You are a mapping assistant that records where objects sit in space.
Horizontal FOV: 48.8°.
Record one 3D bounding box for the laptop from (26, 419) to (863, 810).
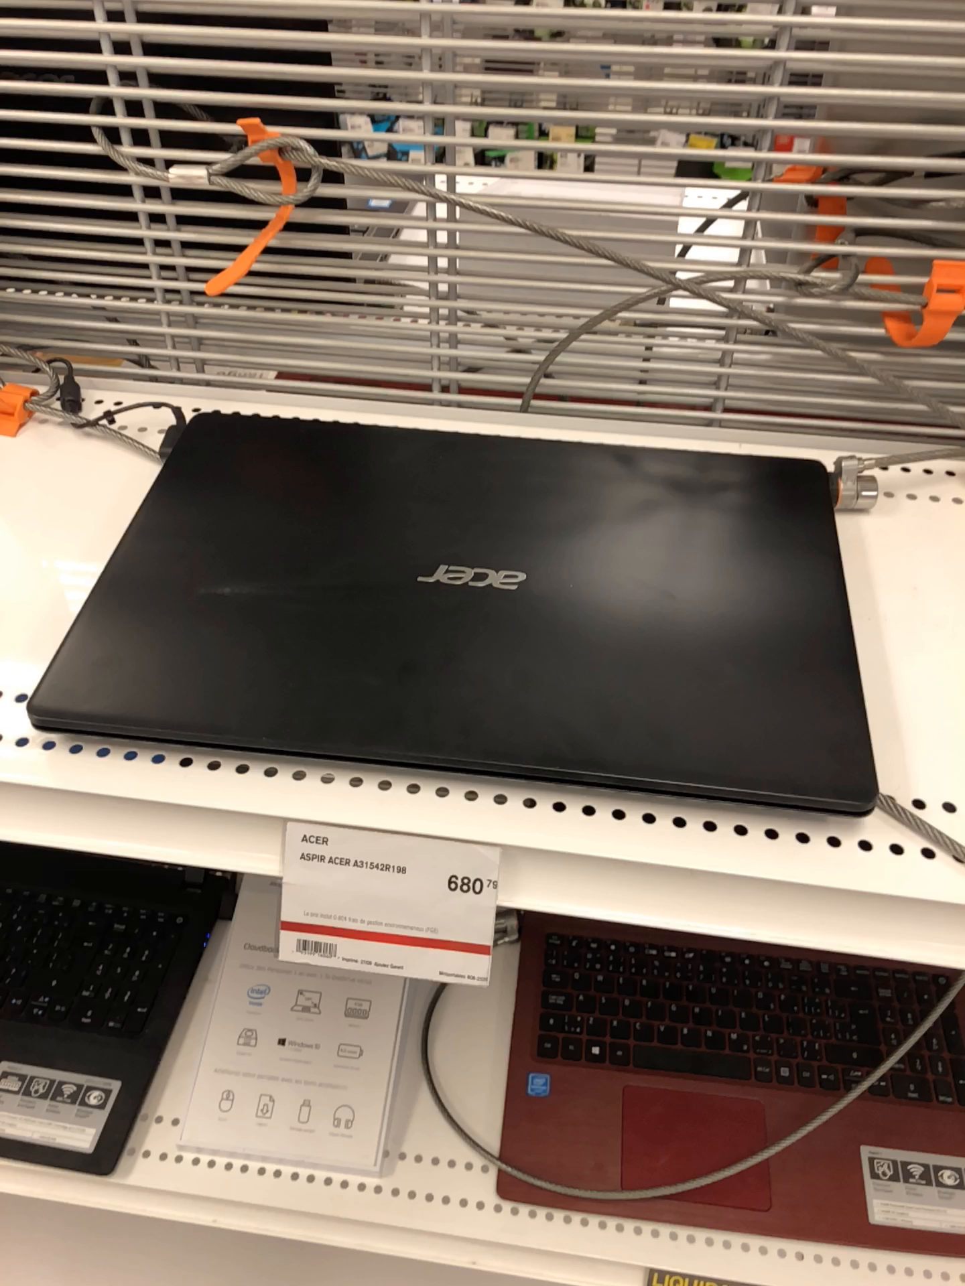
[{"bbox_3d":[-0.005,-0.031,0.529,0.354,0.006,0.232,6,45,5],"label":"laptop"}]
